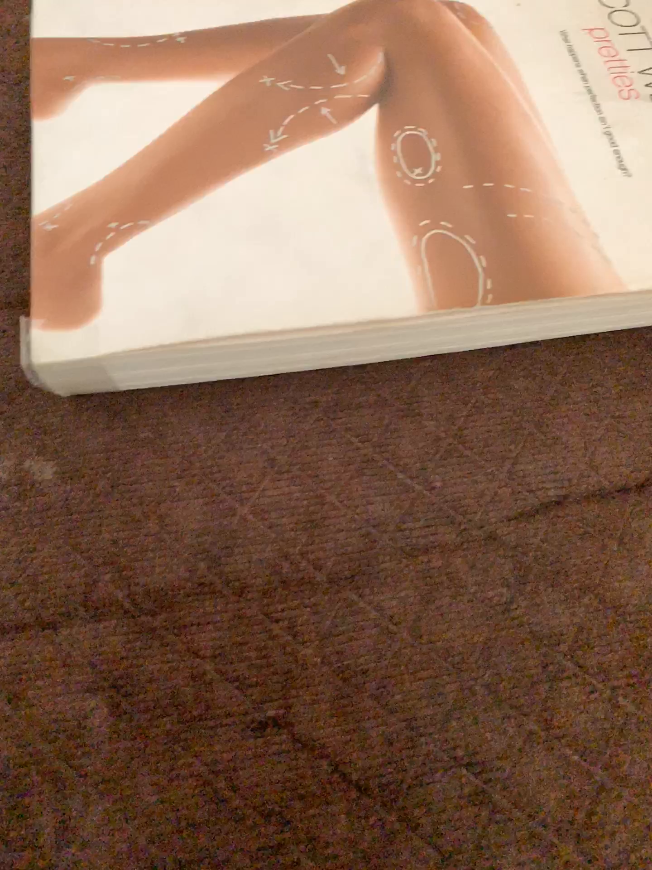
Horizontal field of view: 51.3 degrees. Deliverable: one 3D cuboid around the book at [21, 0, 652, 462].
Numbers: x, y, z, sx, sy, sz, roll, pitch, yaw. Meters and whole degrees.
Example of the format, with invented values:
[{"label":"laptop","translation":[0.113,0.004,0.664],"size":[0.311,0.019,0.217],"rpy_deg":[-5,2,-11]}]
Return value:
[{"label":"book","translation":[0.027,-0.082,0.208],"size":[0.220,0.030,0.151],"rpy_deg":[-8,66,-7]}]
